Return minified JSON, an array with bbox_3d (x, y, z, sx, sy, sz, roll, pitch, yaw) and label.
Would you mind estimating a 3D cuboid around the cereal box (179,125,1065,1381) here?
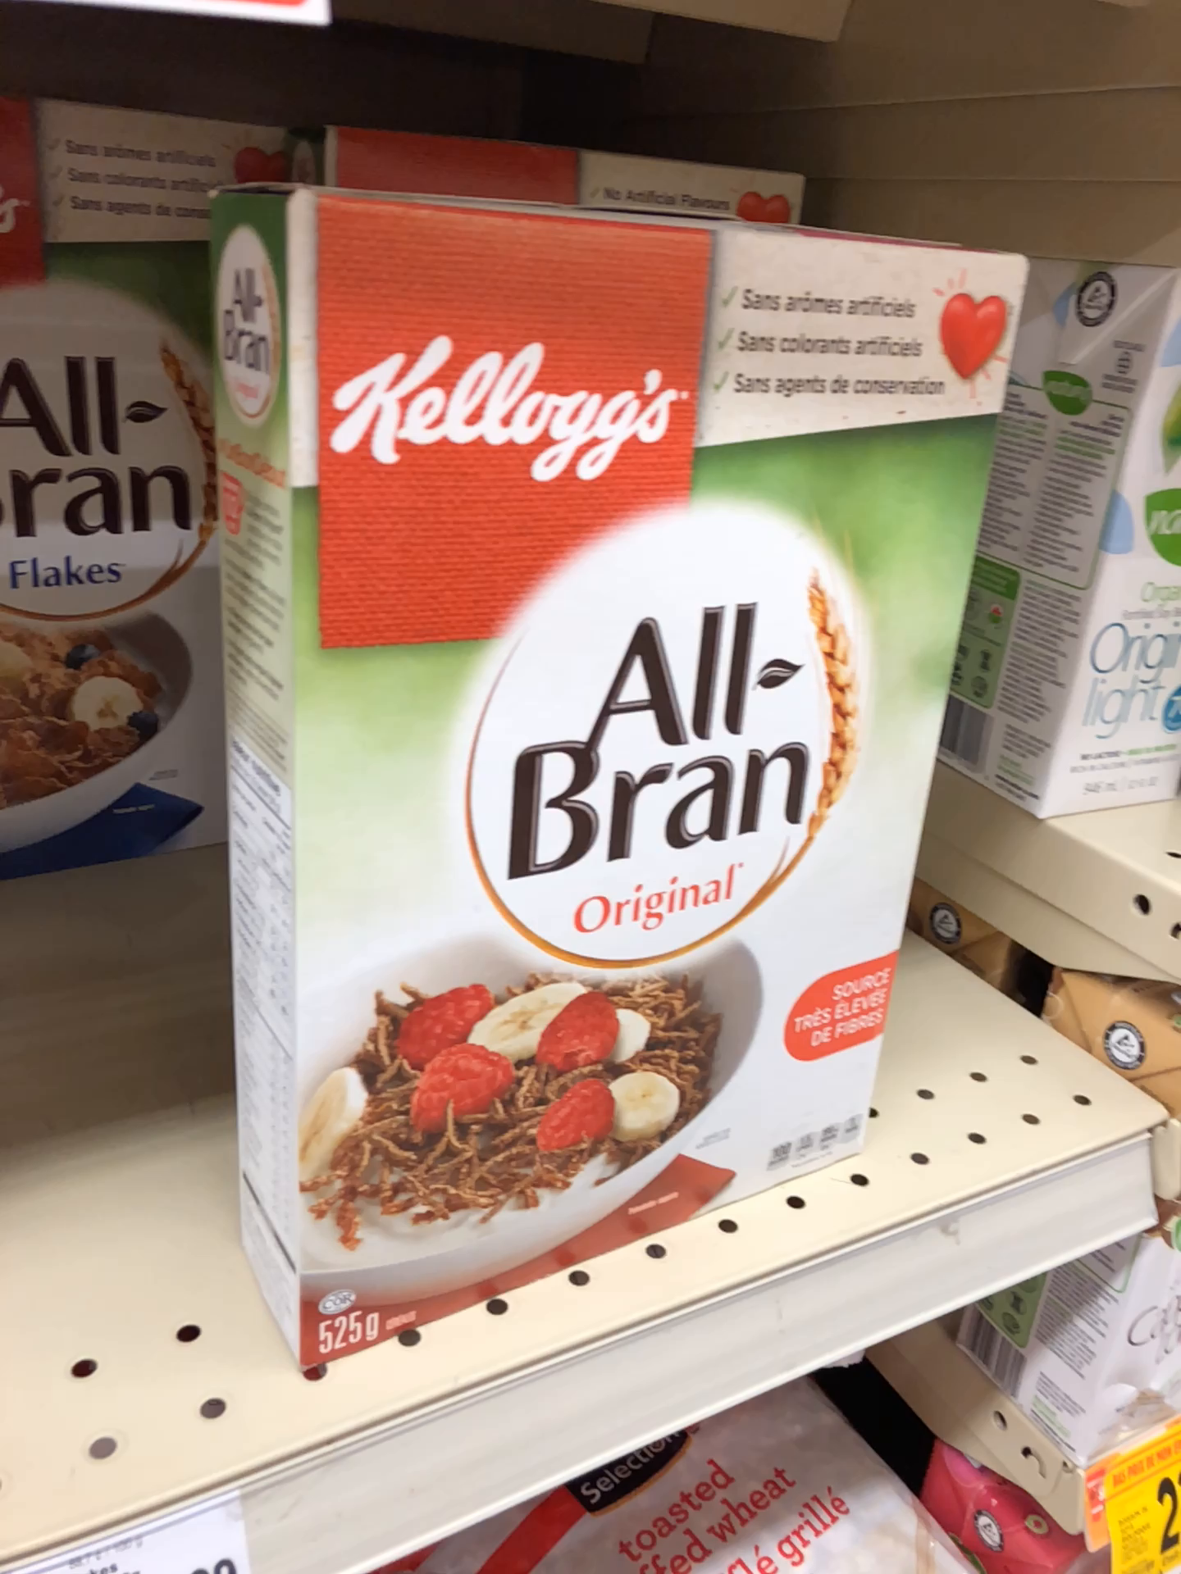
[{"bbox_3d":[0.003,-0.009,0.344,0.190,0.278,0.070,-10,28,-32],"label":"cereal box"}]
